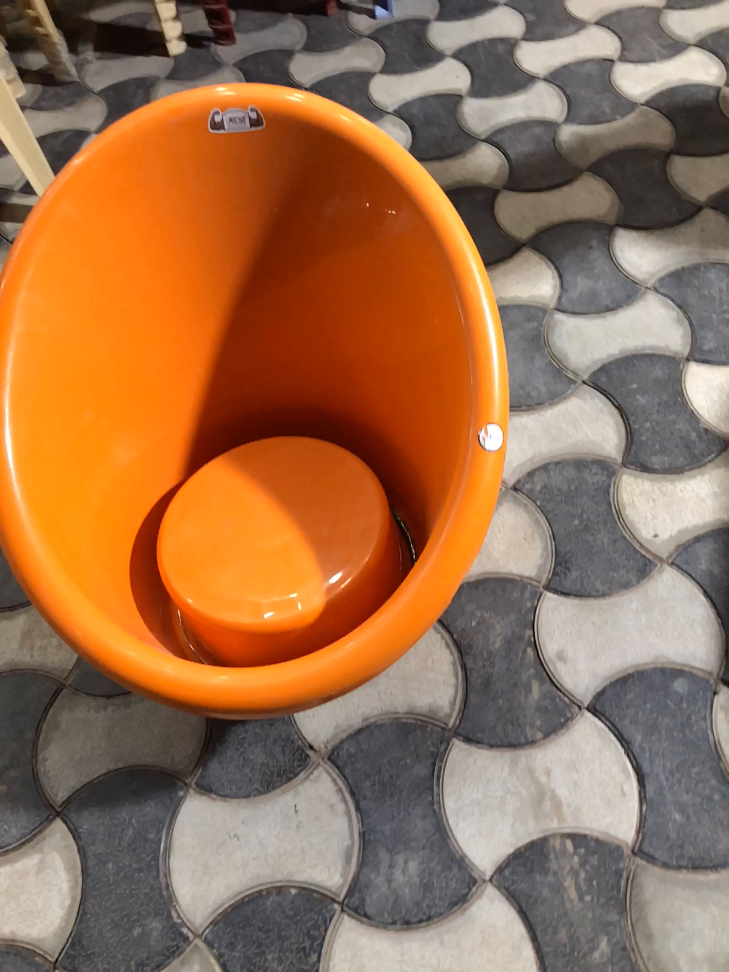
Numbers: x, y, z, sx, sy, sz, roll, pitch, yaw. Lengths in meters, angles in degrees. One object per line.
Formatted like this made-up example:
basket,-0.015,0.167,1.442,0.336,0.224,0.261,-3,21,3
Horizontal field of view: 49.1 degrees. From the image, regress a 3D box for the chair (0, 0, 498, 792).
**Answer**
chair,-0.196,-0.085,1.044,0.660,0.666,0.724,-5,52,6
